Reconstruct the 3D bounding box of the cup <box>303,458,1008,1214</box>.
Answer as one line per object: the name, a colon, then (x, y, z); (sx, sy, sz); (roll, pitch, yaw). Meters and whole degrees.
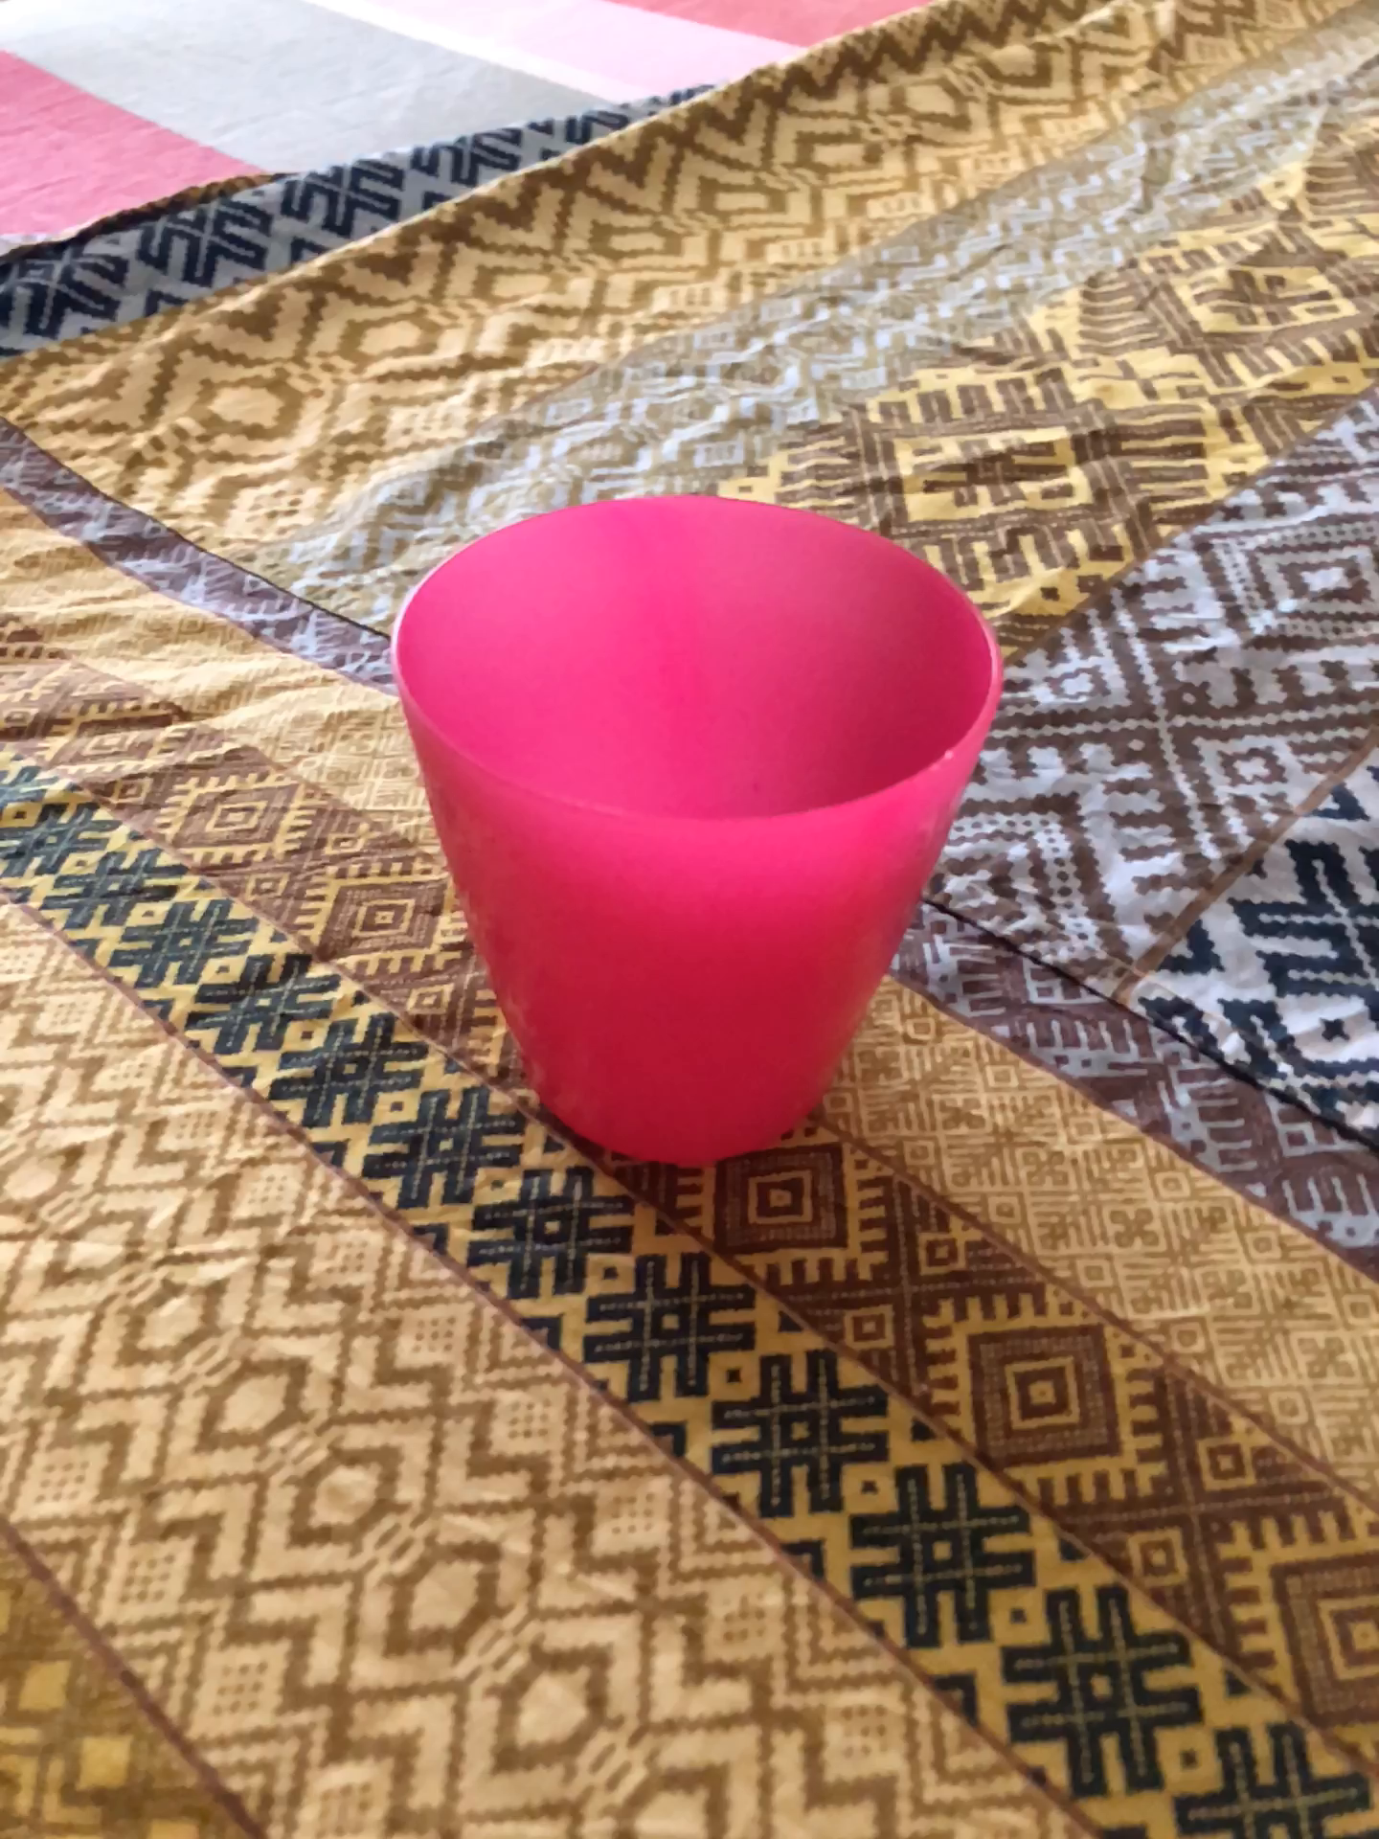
cup: (0.002, -0.014, 0.220); (0.078, 0.067, 0.078); (-1, 45, 1)
